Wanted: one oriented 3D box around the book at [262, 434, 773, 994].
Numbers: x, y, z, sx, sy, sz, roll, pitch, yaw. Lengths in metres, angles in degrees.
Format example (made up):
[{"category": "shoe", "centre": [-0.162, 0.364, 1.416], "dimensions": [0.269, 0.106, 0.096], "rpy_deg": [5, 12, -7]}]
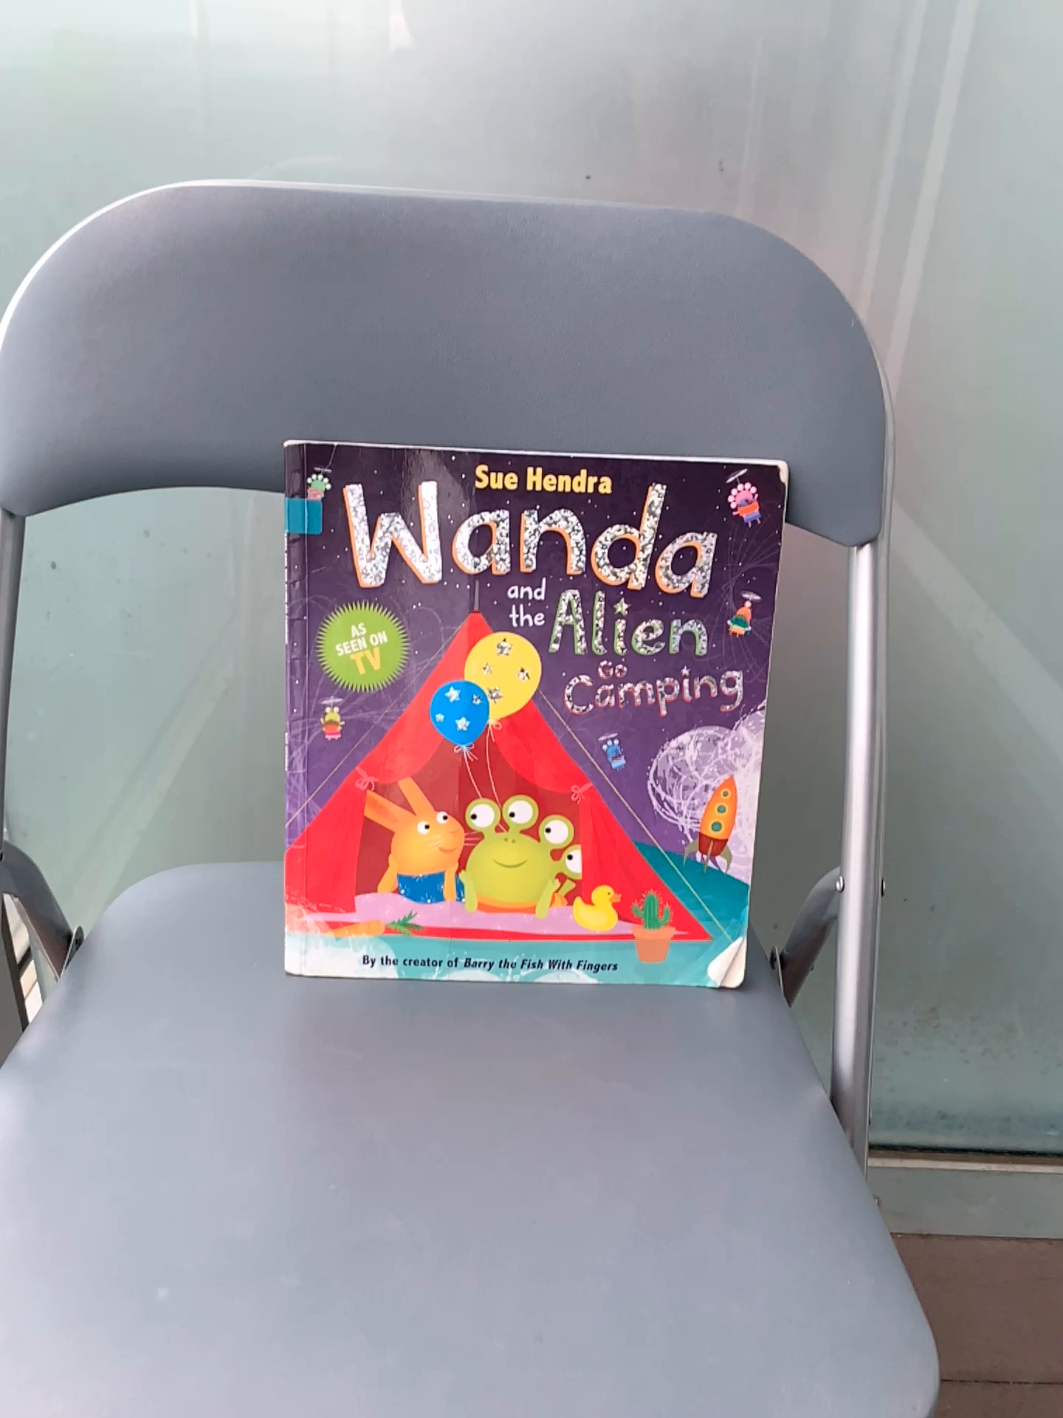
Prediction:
[{"category": "book", "centre": [-0.012, 0.009, 0.538], "dimensions": [0.230, 0.269, 0.030], "rpy_deg": [2, 15, -2]}]
